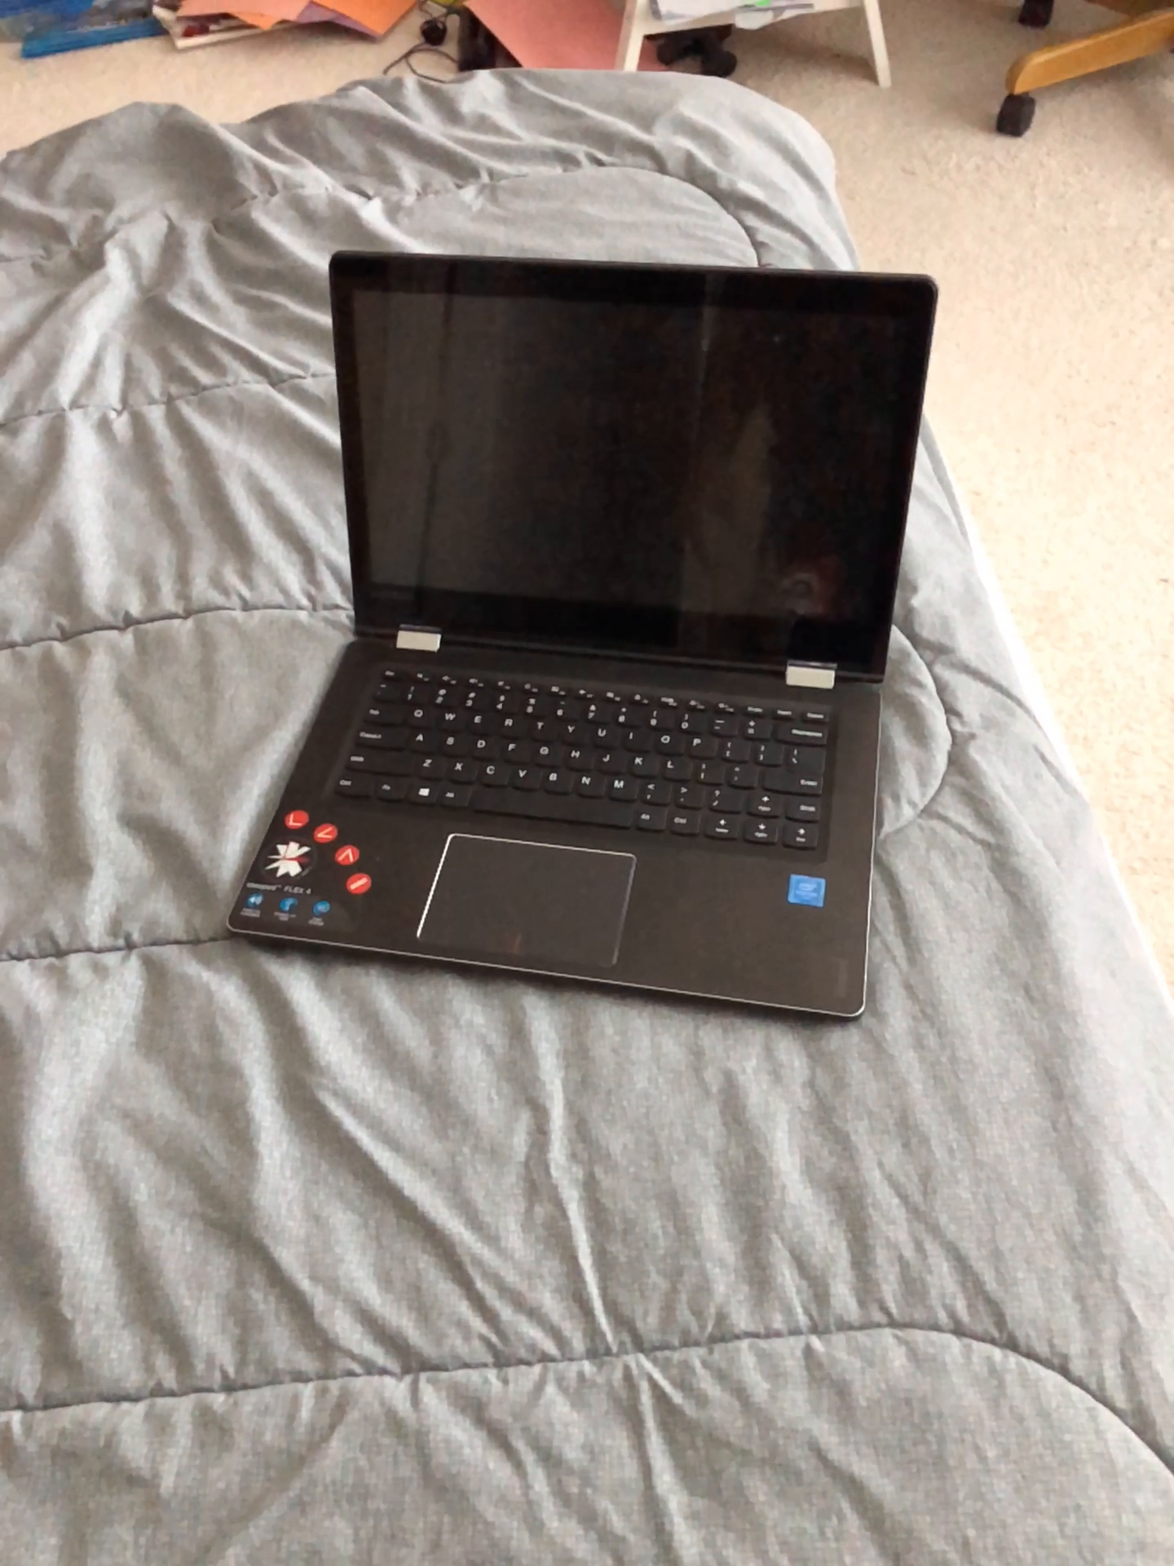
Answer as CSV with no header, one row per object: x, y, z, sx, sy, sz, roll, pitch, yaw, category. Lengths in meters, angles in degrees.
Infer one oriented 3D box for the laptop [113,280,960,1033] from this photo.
0.008,-0.086,0.738,0.361,0.214,0.352,7,53,9,laptop
